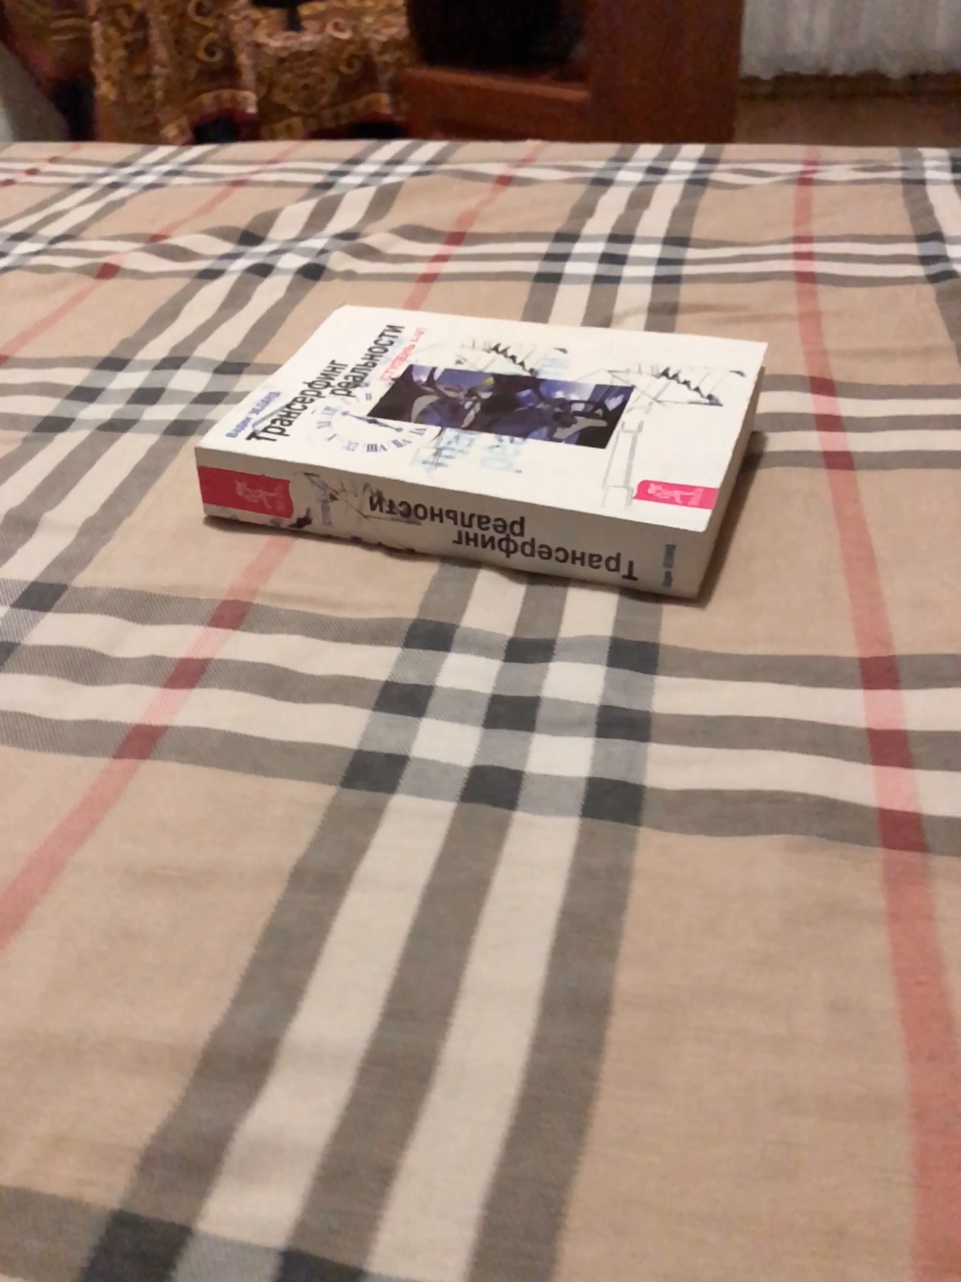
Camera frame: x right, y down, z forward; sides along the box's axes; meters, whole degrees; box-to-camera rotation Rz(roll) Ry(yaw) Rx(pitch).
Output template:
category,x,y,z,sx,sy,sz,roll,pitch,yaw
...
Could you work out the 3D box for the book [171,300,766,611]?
category,x,y,z,sx,sy,sz,roll,pitch,yaw
book,0.003,-0.086,0.434,0.202,0.037,0.144,11,39,15
